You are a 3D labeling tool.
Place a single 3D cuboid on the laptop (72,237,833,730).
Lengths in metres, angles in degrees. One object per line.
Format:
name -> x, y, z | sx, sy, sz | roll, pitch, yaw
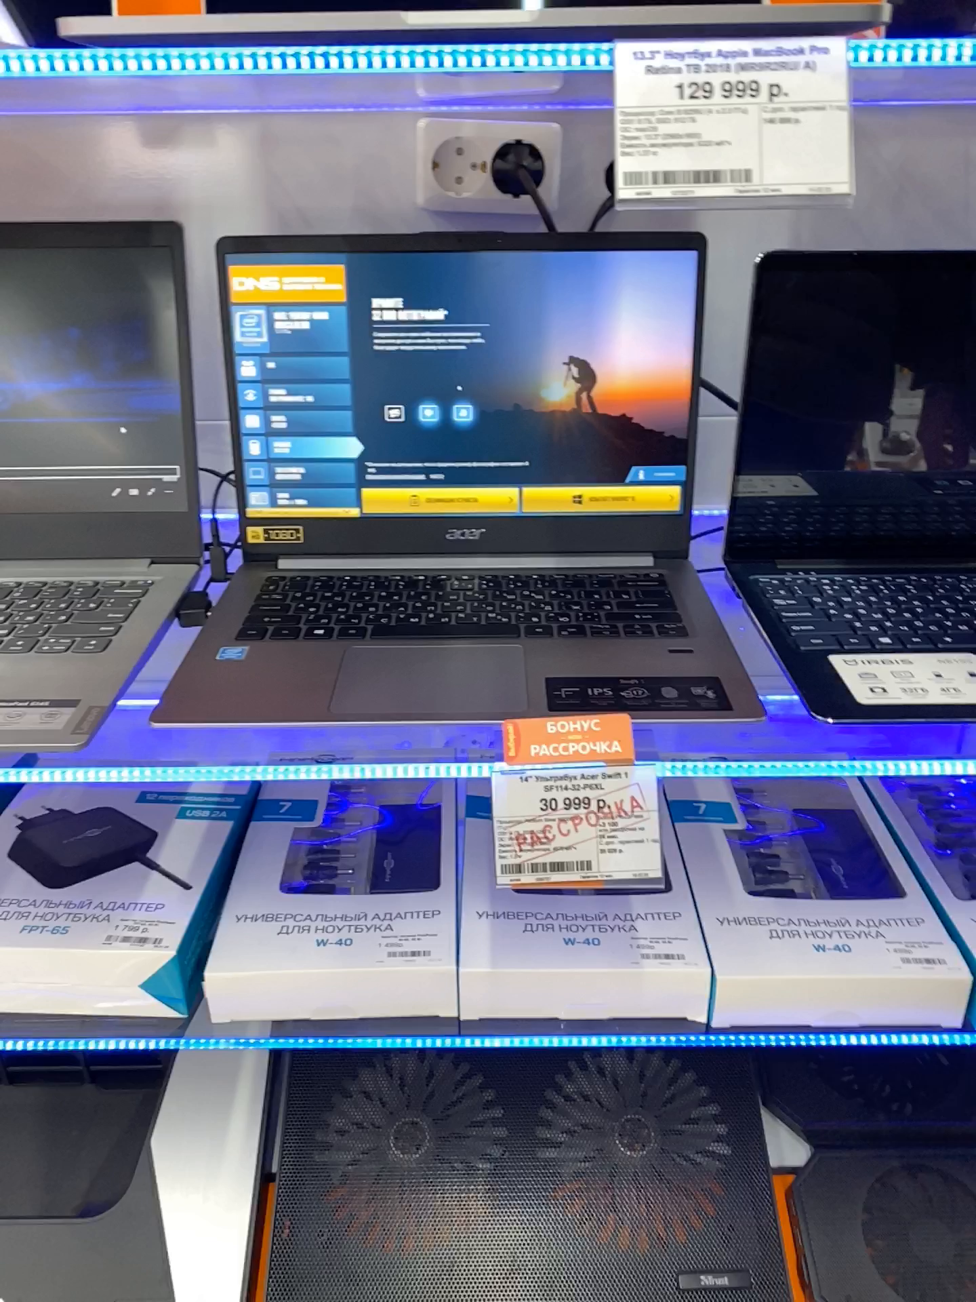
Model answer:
laptop -> -0.014, -0.114, 0.578 | 0.318, 0.206, 0.258 | -1, 27, 0
